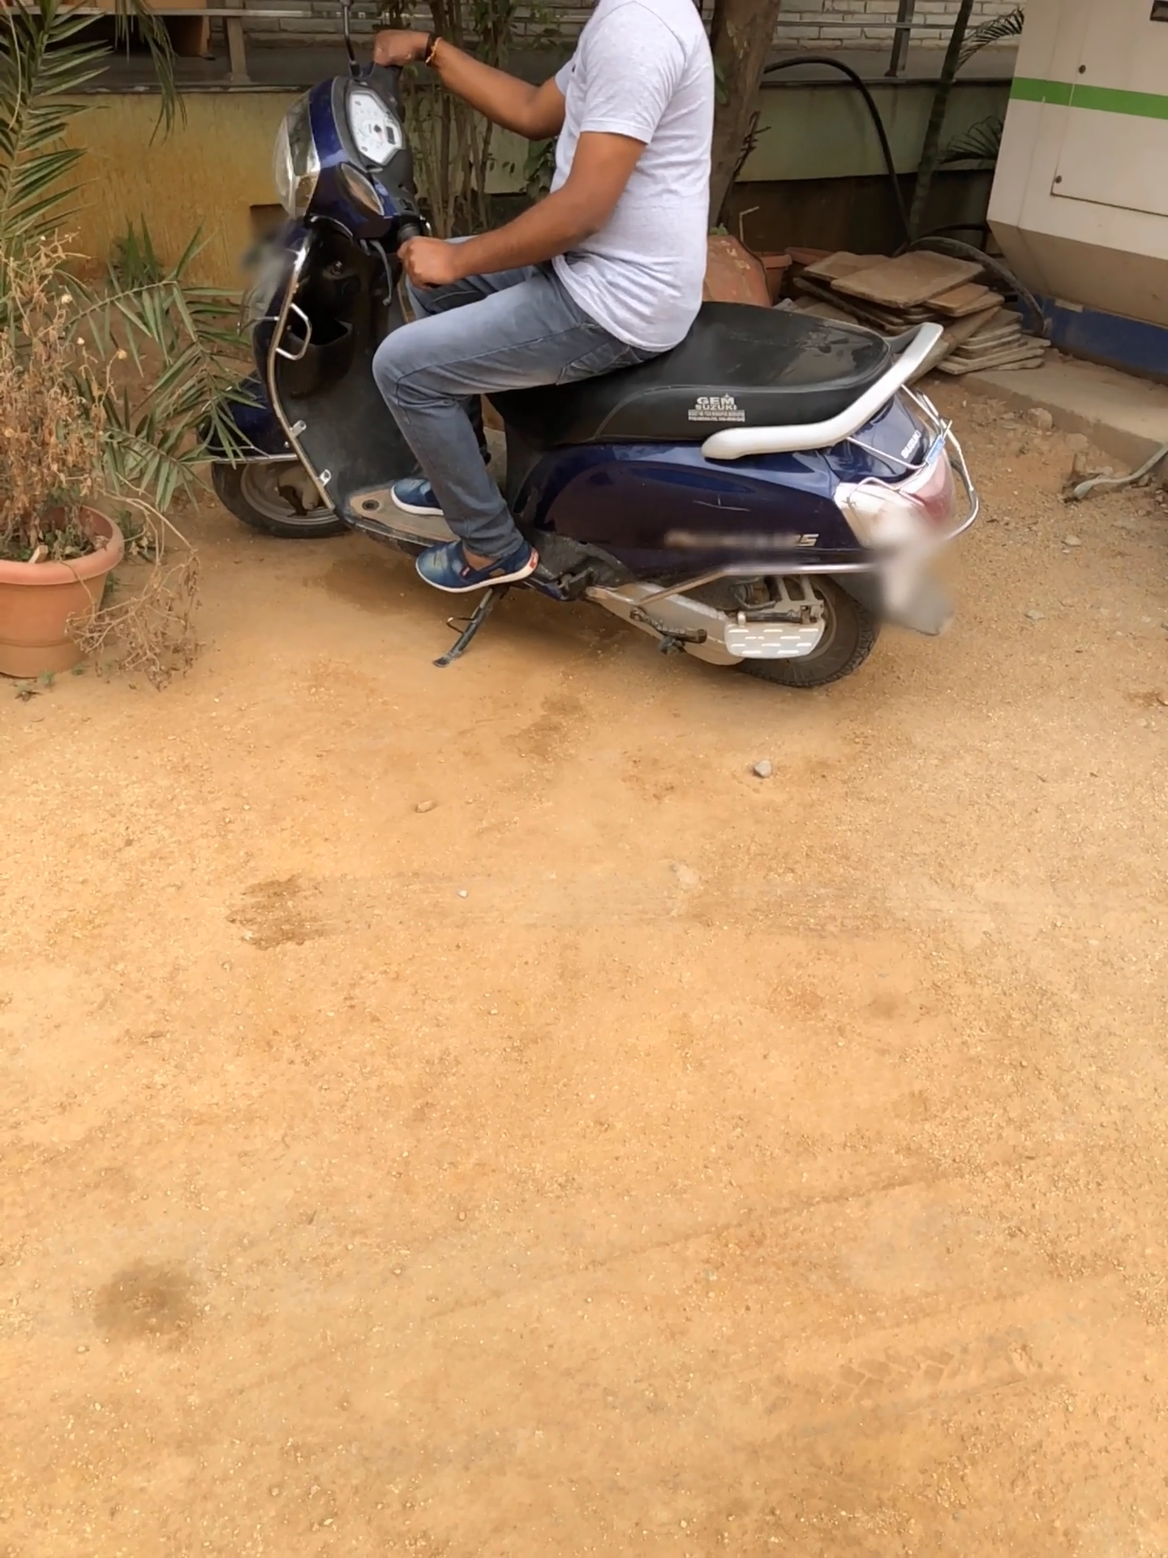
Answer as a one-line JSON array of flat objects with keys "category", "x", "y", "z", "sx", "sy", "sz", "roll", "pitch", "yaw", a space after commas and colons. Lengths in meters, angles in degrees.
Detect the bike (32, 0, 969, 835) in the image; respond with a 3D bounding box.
[{"category": "bike", "x": -0.169, "y": -0.786, "z": 2.583, "sx": 1.620, "sy": 1.221, "sz": 0.591, "roll": 16, "pitch": 35, "yaw": 18}]
